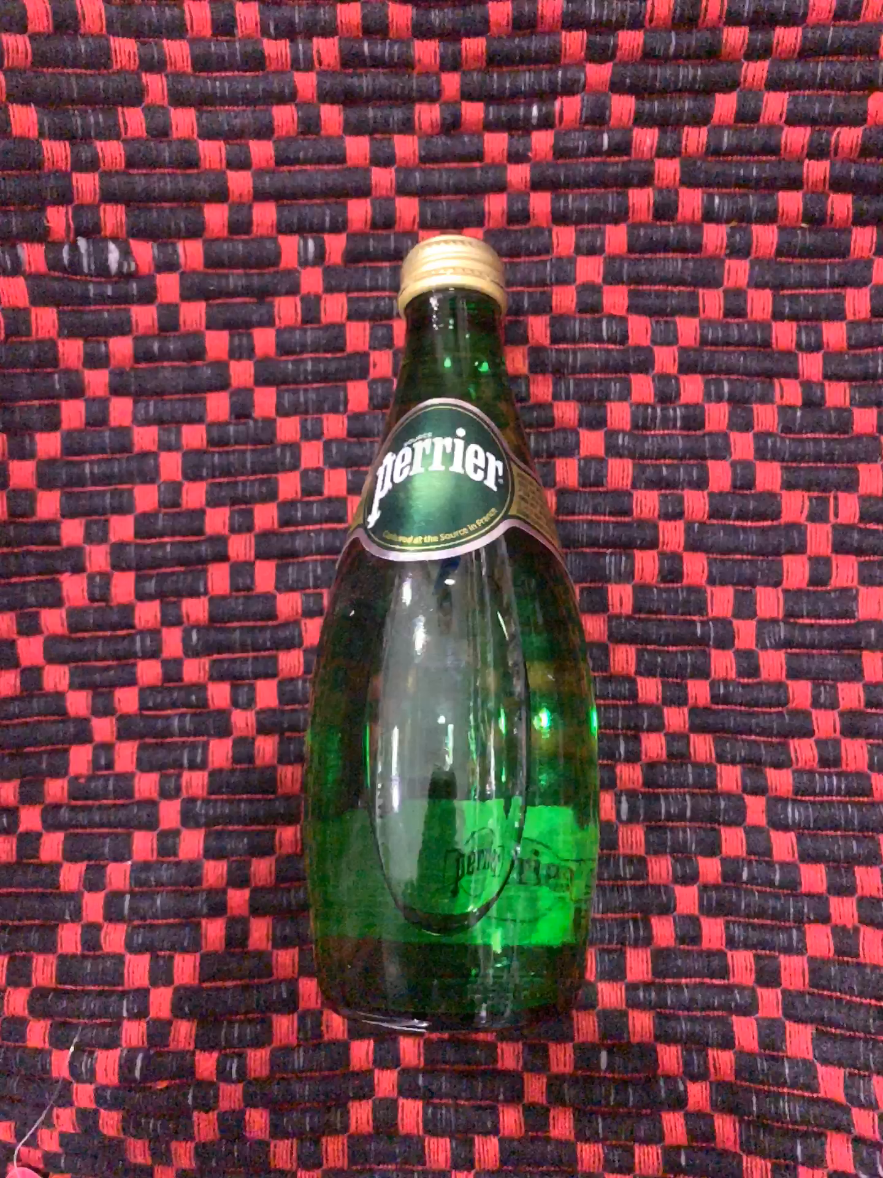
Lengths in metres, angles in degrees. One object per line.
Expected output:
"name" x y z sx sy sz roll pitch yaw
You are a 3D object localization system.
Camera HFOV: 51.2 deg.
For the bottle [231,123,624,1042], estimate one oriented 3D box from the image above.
"bottle" 0.003 -0.002 0.219 0.070 0.070 0.180 -2 78 14
